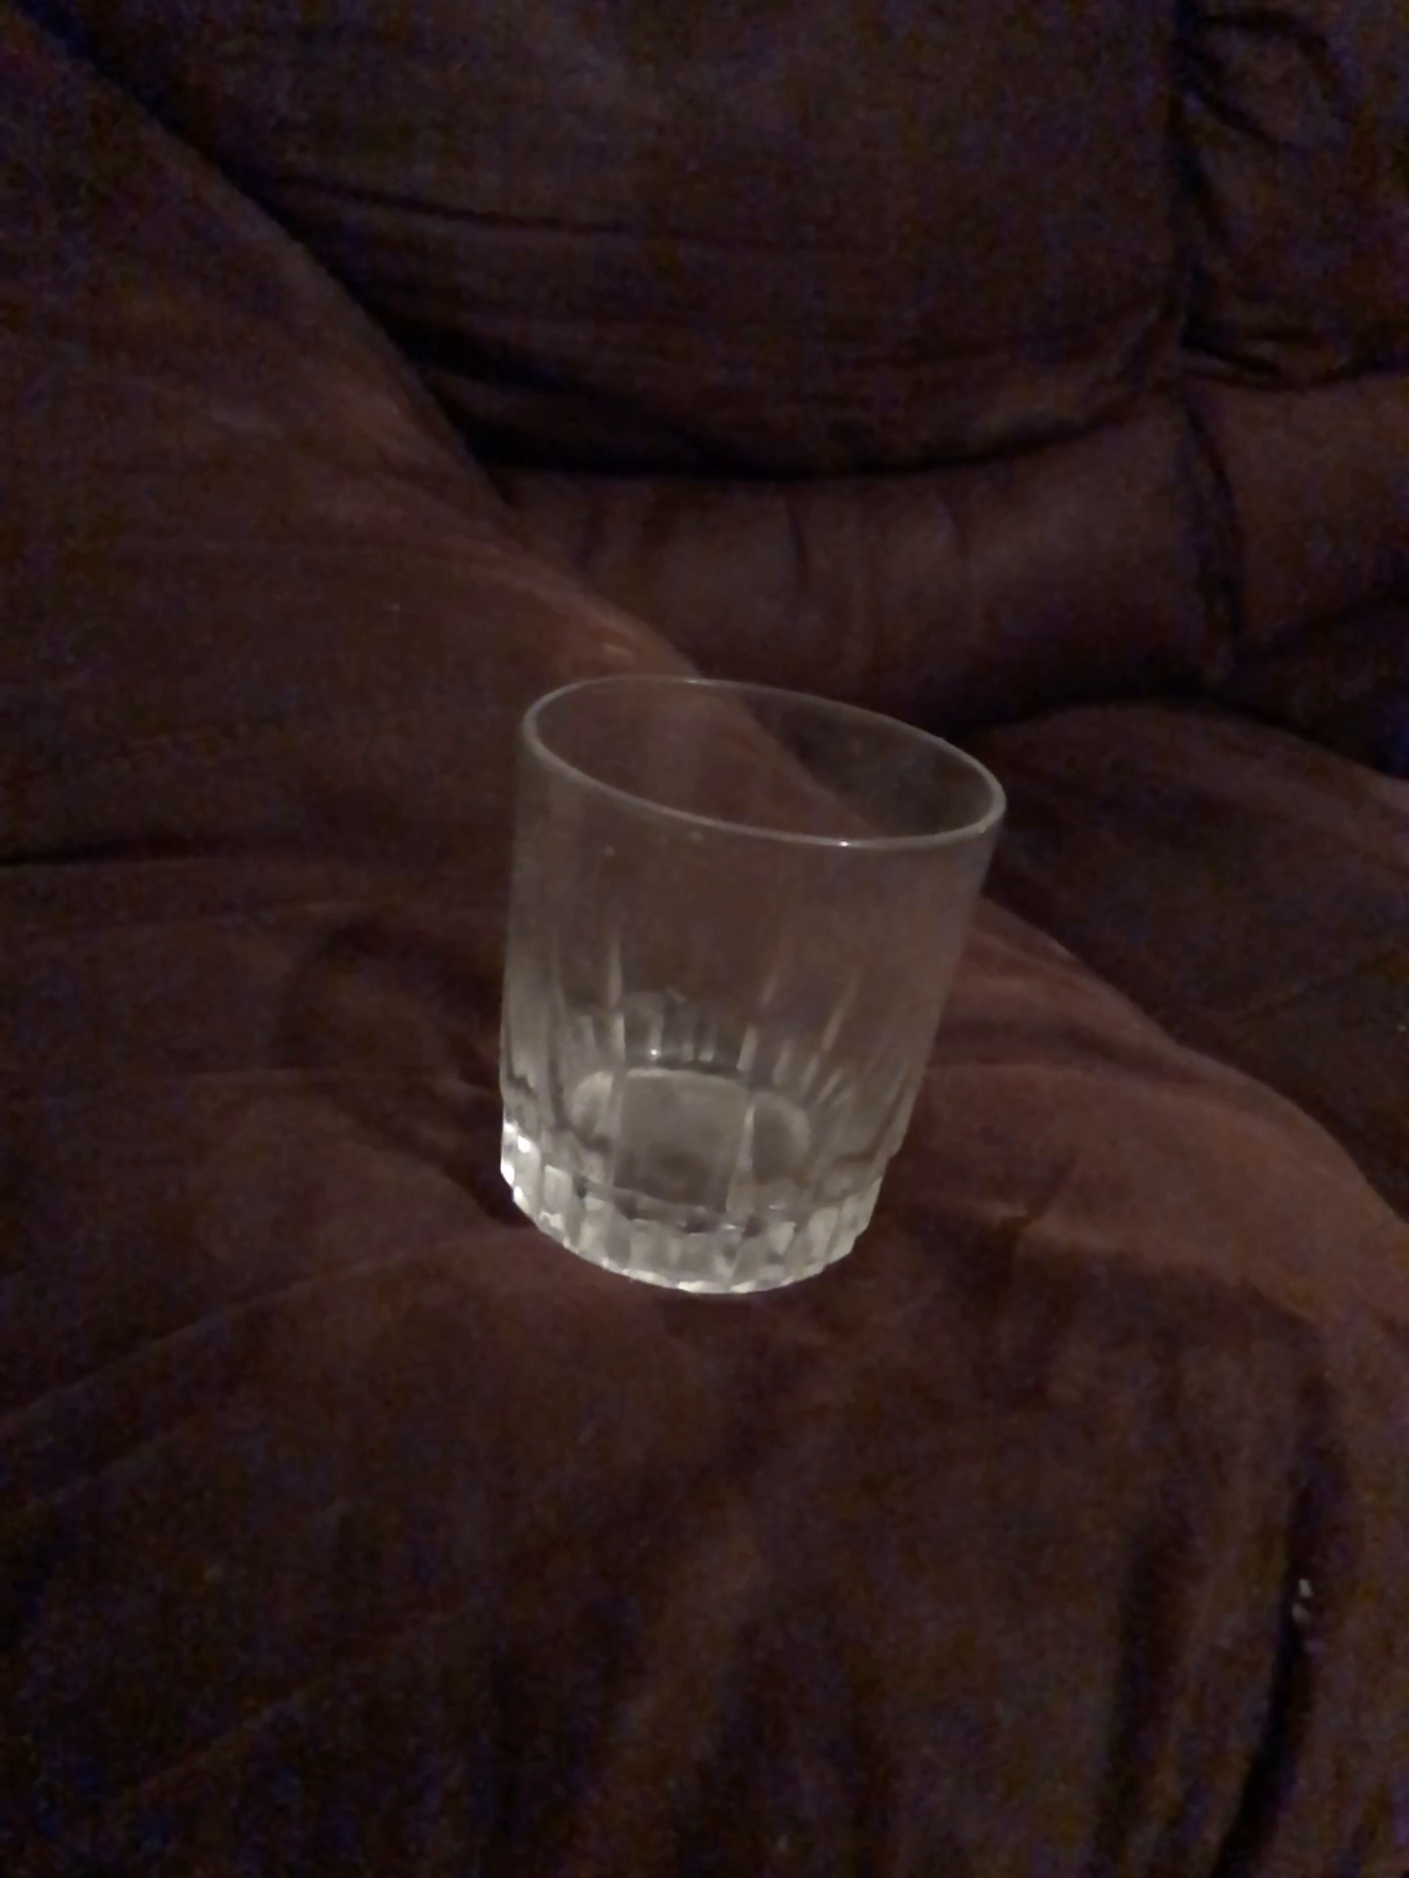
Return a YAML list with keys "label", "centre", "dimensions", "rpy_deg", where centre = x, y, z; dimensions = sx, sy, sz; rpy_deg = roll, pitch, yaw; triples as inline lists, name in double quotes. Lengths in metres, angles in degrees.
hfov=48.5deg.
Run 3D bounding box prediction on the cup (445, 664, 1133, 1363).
- label: "cup"
  centre: [0.005, 0.008, 0.271]
  dimensions: [0.086, 0.086, 0.087]
  rpy_deg: [7, 22, -3]
